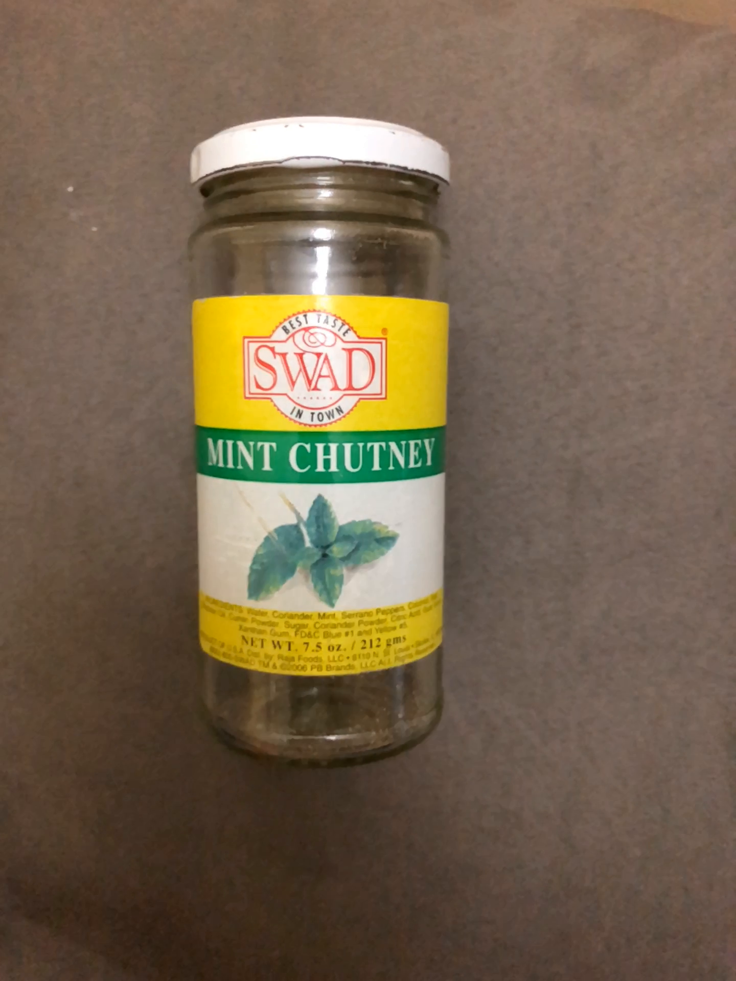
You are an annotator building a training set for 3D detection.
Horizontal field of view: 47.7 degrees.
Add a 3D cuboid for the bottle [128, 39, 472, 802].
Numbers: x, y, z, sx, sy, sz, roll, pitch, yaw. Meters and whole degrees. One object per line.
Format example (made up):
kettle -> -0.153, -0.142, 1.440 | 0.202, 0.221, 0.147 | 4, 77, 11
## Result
bottle -> -0.009, -0.013, 0.182 | 0.060, 0.059, 0.137 | 1, 98, 6
